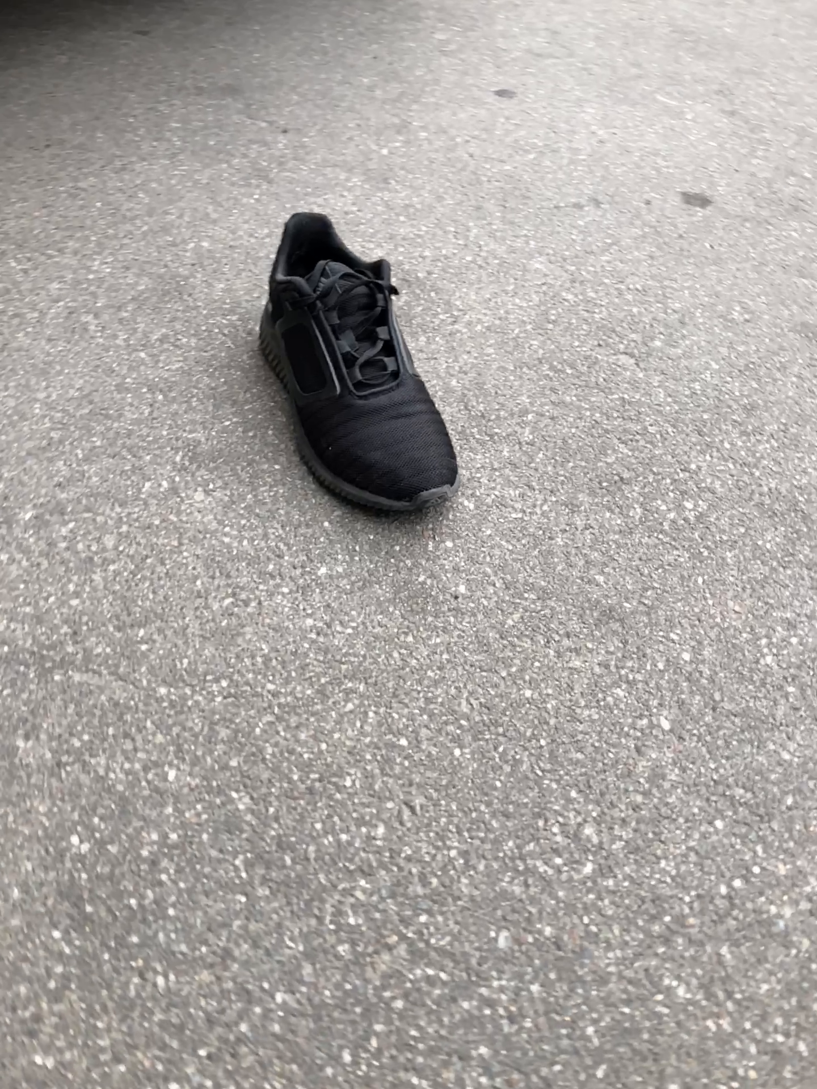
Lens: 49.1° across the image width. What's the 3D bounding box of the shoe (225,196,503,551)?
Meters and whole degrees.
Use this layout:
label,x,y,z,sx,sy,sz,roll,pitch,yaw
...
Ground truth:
label,x,y,z,sx,sy,sz,roll,pitch,yaw
shoe,-0.047,-0.141,0.673,0.100,0.109,0.281,-15,49,-20
